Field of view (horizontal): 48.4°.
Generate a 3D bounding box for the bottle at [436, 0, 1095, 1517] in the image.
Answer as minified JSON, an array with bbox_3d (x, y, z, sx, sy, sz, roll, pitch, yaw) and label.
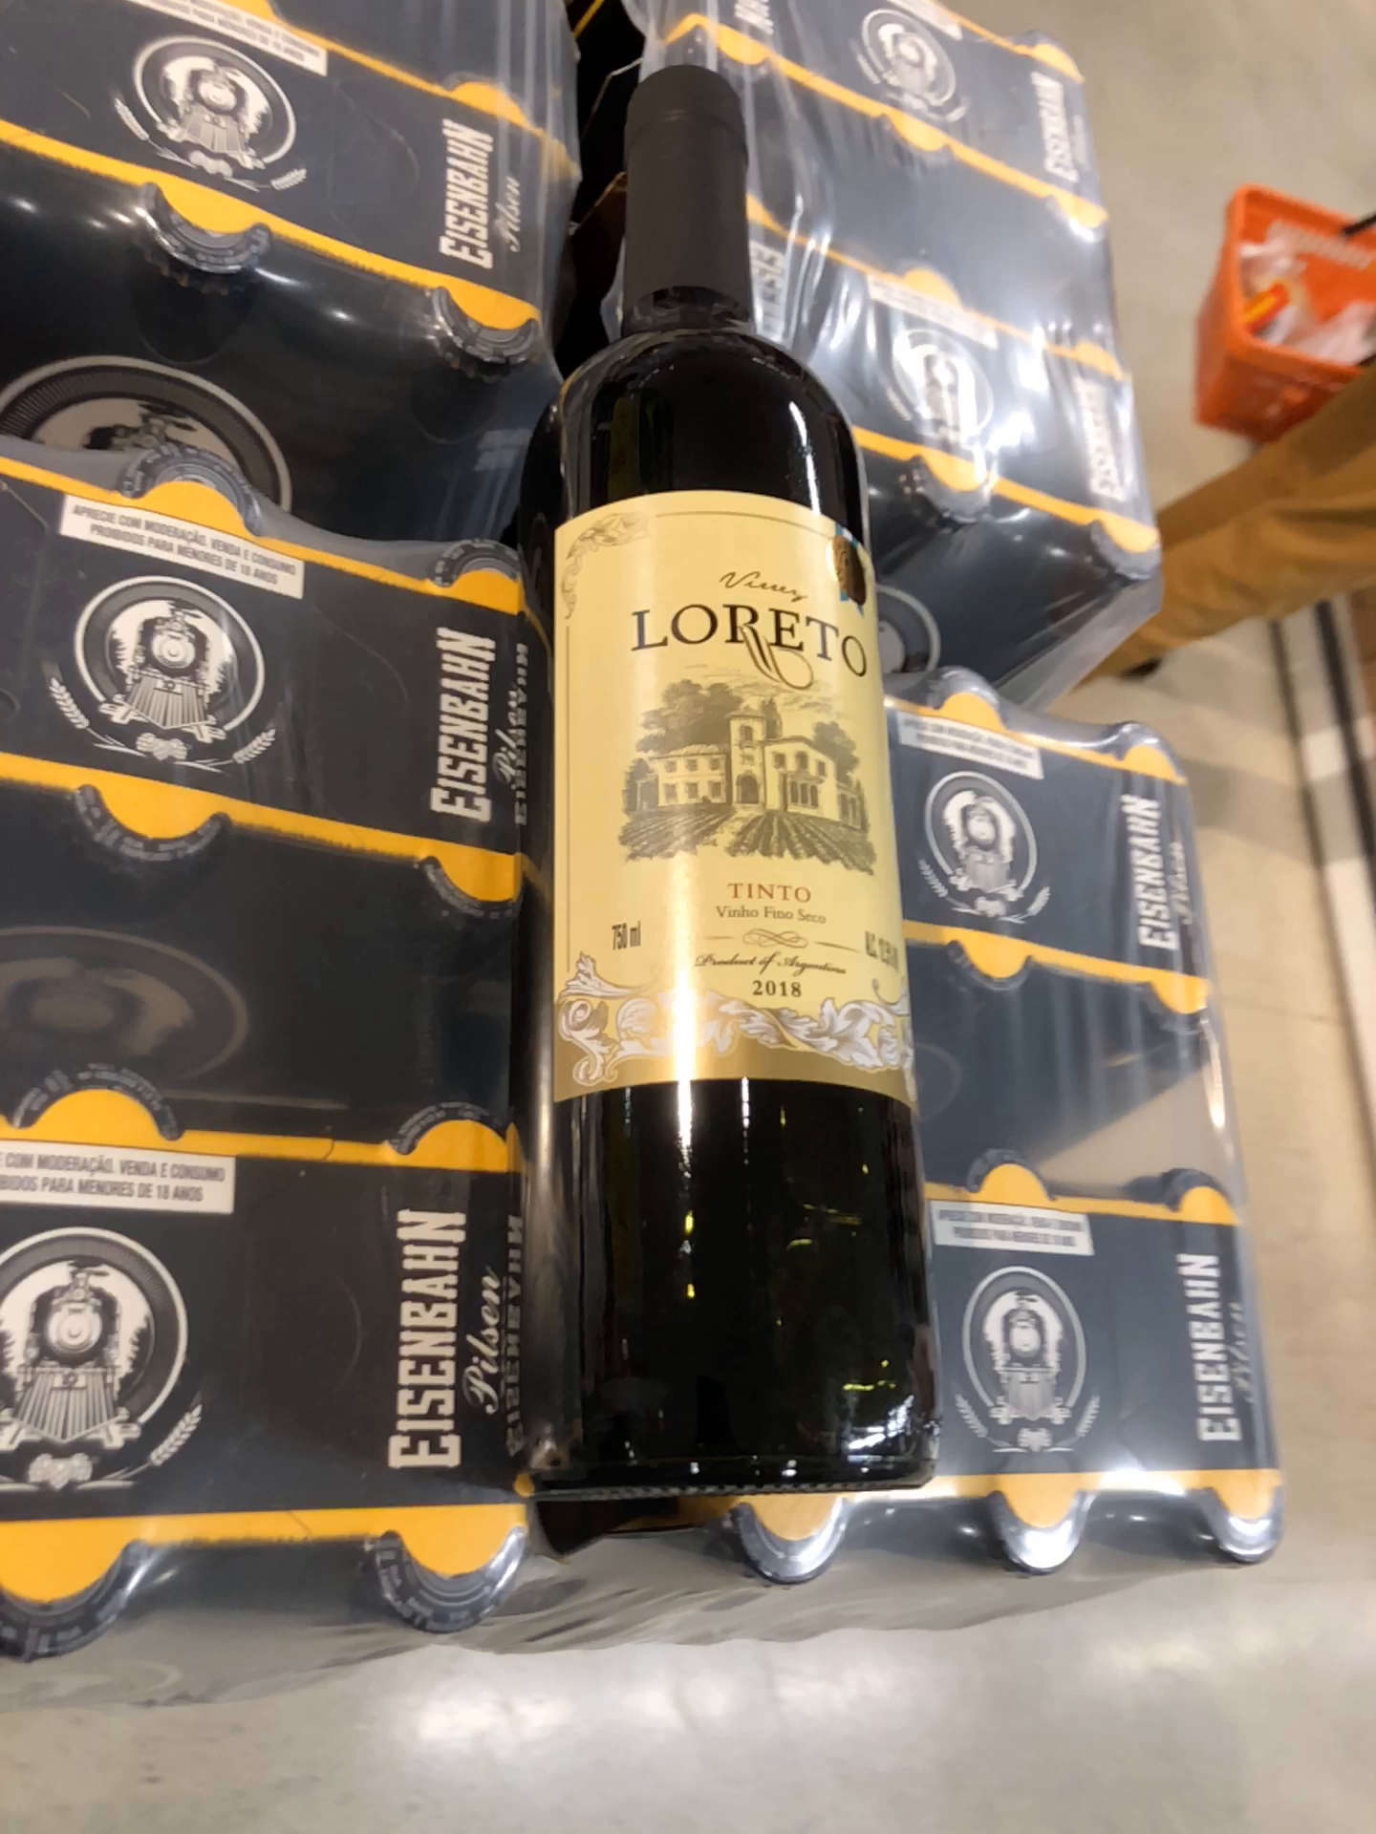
[{"bbox_3d":[0.002,-0.063,0.296,0.080,0.080,0.331,5,68,-16],"label":"bottle"}]
